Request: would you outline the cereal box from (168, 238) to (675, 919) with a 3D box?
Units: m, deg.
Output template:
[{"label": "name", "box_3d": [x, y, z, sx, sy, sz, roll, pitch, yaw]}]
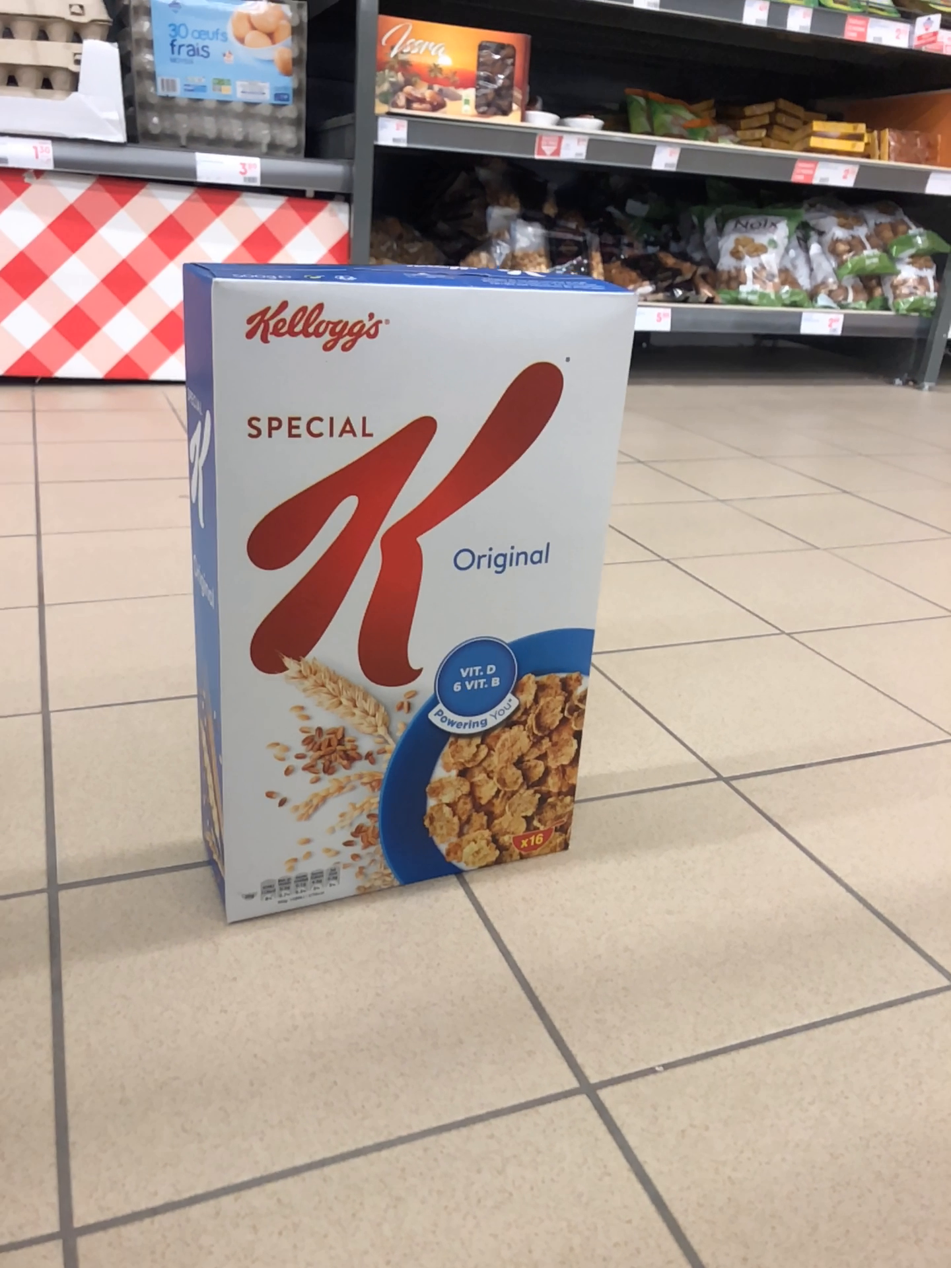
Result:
[{"label": "cereal box", "box_3d": [-0.031, -0.026, 0.510, 0.211, 0.298, 0.070, -5, 23, -23]}]
